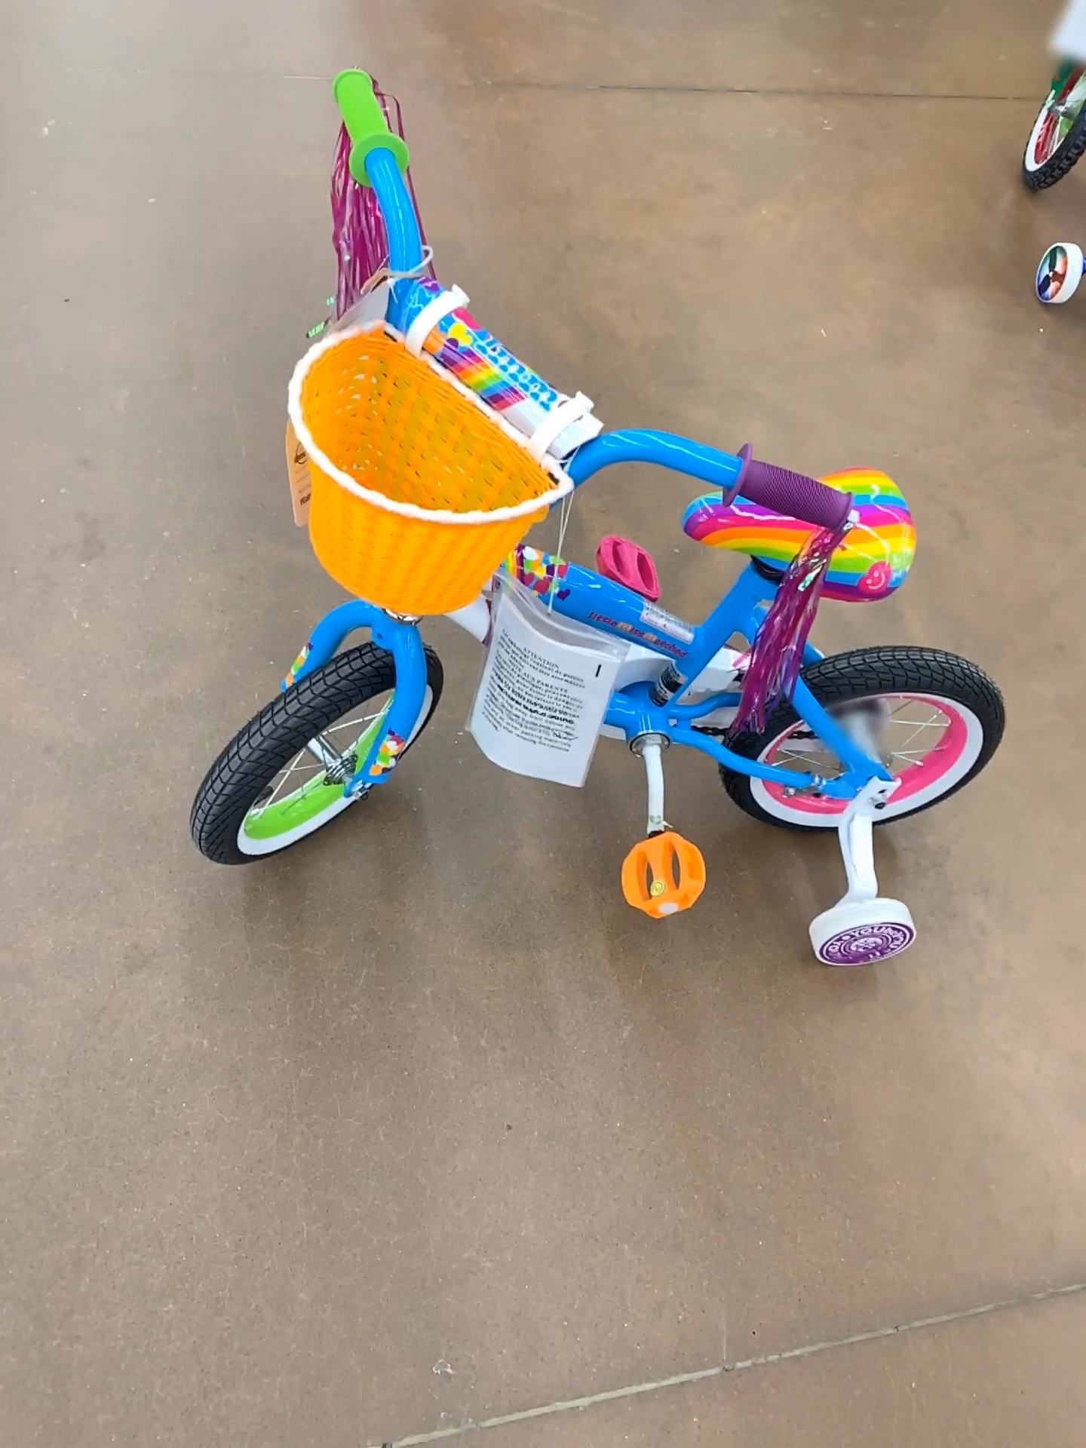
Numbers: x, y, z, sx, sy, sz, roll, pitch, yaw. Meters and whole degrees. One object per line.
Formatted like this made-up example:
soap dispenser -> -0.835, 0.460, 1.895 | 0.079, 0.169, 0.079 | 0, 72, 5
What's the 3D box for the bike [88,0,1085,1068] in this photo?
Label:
bike -> 0.099, -0.142, 1.010 | 0.816, 0.664, 0.554 | -6, 53, -16
